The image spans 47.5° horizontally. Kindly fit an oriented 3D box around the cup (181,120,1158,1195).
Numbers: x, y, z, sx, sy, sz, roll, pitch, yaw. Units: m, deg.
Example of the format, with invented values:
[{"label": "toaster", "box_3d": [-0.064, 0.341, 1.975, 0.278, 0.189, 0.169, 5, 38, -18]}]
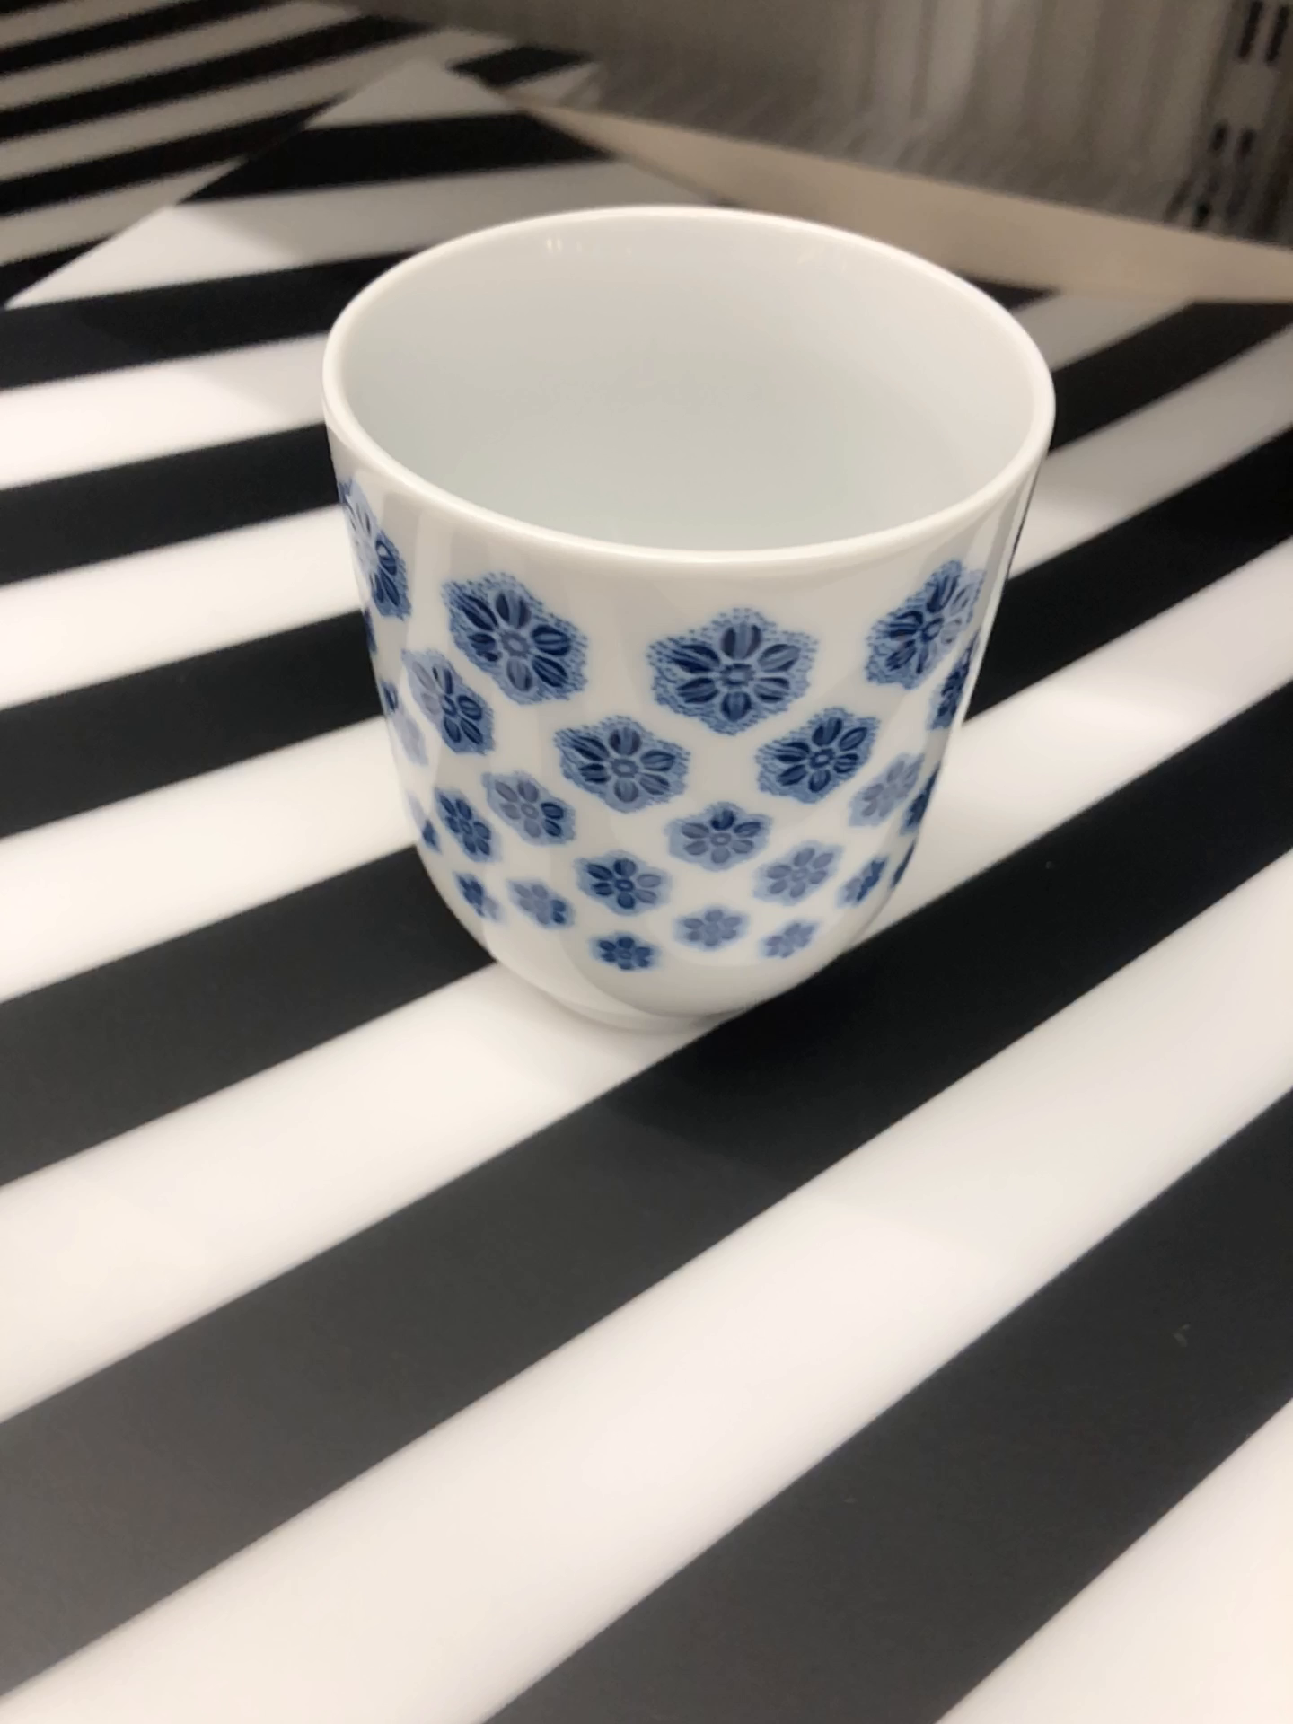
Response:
[{"label": "cup", "box_3d": [0.006, -0.027, 0.174, 0.070, 0.080, 0.080, 20, 48, 16]}]
